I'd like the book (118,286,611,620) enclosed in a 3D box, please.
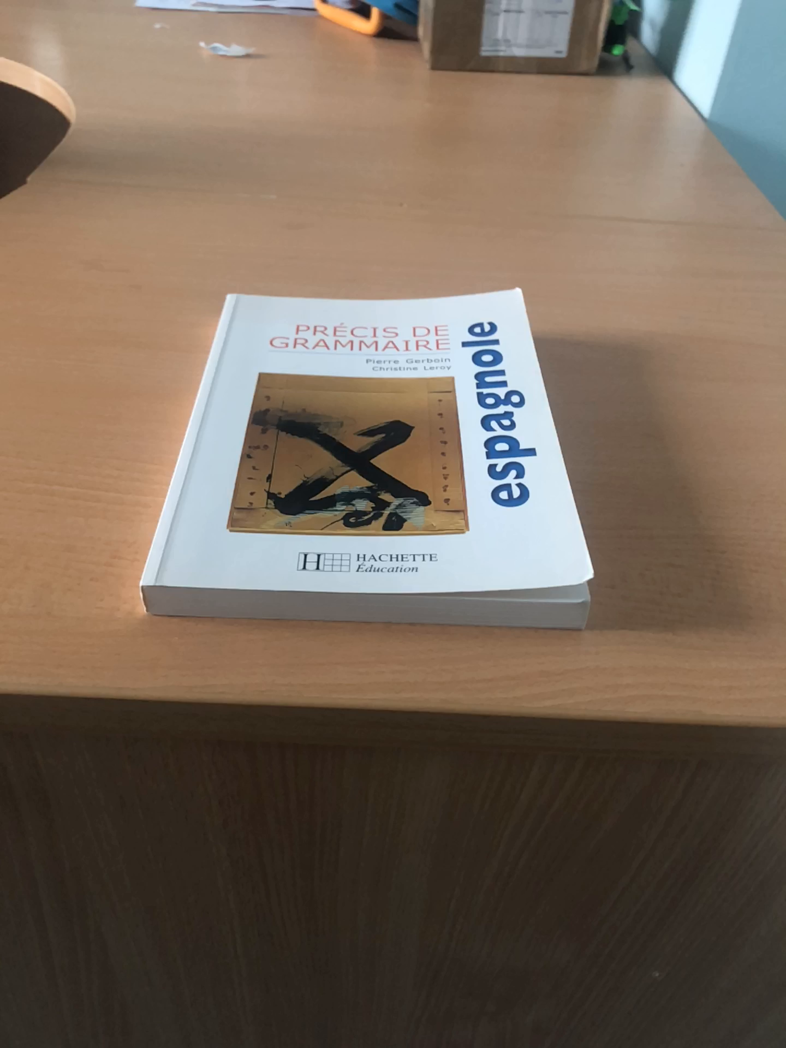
[{"bbox_3d":[-0.011,-0.050,0.416,0.180,0.020,0.241,1,41,-1],"label":"book"}]
